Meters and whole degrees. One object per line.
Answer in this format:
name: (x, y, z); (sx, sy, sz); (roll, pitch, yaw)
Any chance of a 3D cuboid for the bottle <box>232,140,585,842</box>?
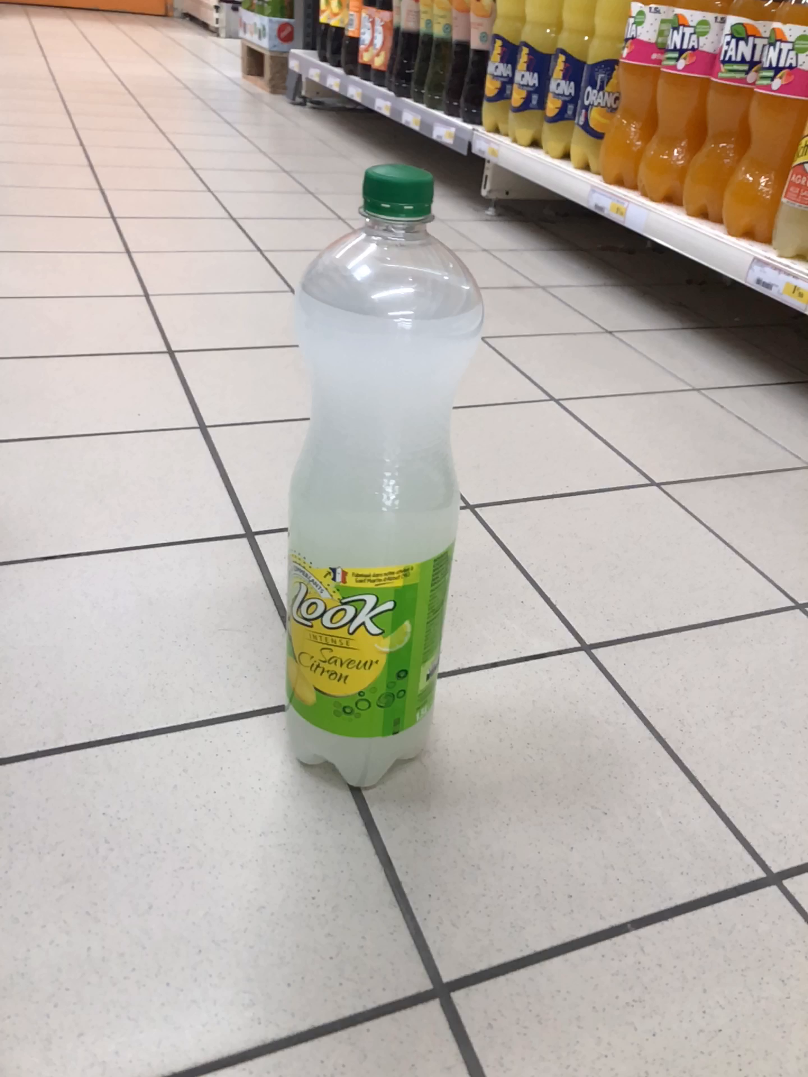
bottle: (-0.010, -0.015, 0.429); (0.100, 0.308, 0.101); (5, 31, -3)
